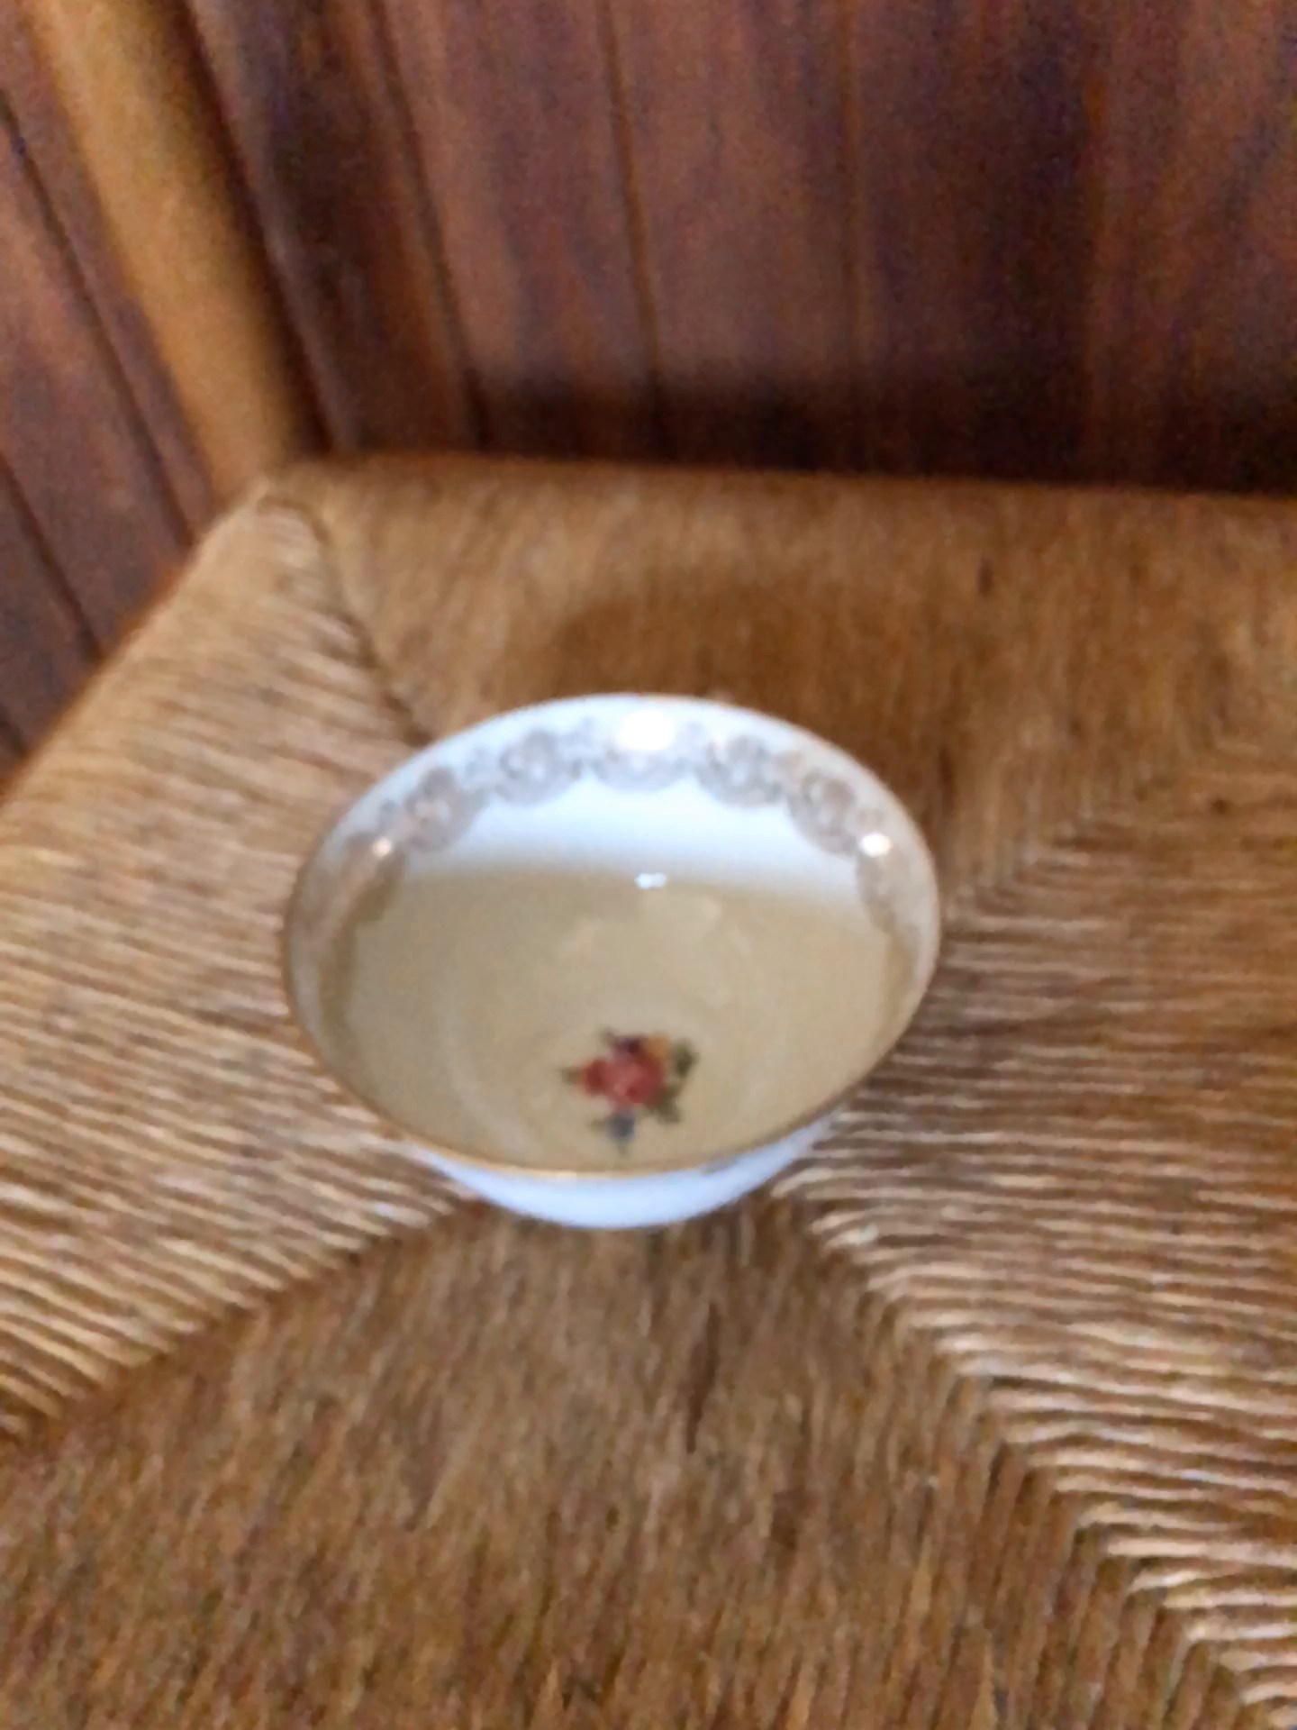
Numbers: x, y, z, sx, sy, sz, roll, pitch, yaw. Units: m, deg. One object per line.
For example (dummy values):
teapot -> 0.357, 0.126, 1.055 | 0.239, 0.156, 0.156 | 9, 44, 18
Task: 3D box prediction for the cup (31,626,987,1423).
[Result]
cup -> -0.013, 0.015, 0.277 | 0.130, 0.040, 0.141 | -5, 41, 4
